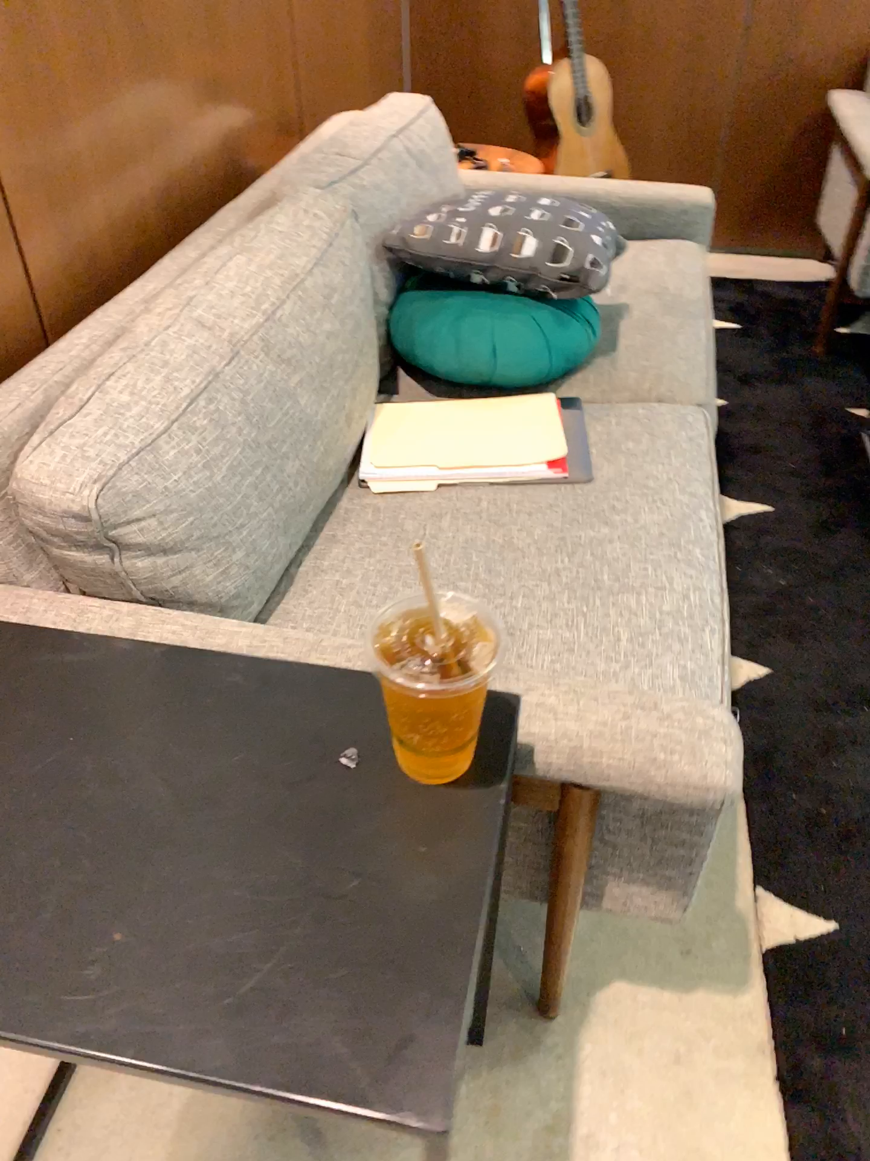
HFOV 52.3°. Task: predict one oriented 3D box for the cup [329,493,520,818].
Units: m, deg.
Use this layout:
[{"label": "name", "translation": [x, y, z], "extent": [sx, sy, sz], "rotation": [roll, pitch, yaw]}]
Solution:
[{"label": "cup", "translation": [-0.005, 0.053, 0.597], "extent": [0.080, 0.189, 0.090], "rotation": [22, 45, 25]}]
